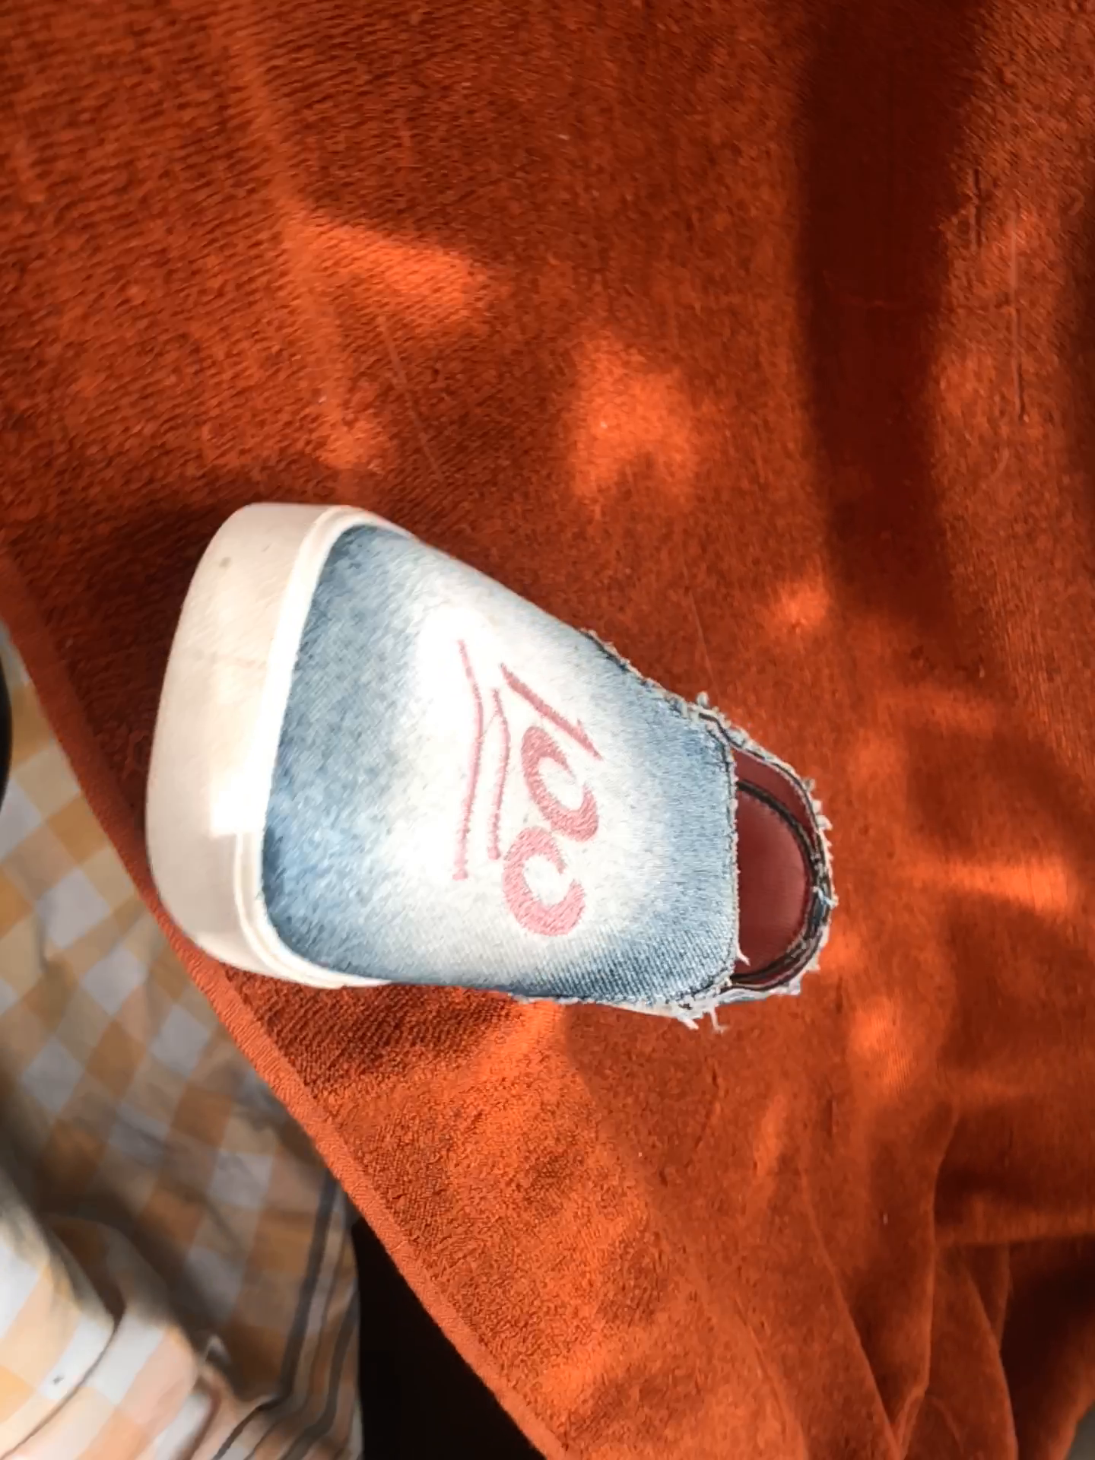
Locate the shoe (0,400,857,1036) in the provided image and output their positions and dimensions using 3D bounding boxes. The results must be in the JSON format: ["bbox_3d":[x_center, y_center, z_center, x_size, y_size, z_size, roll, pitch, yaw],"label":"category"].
[{"bbox_3d":[-0.004,0.018,0.306,0.242,0.079,0.090,26,73,-56],"label":"shoe"}]
